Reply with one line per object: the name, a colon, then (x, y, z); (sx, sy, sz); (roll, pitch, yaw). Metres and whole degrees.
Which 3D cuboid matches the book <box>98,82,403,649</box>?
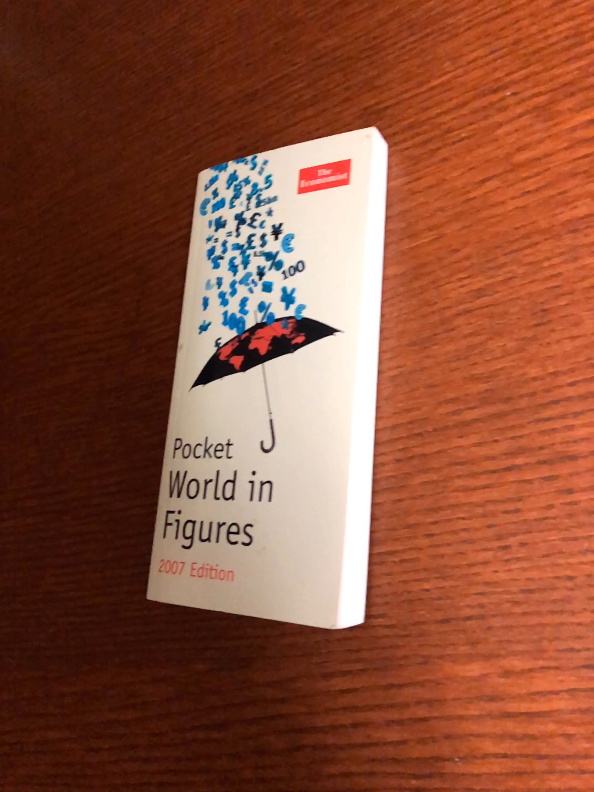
book: (-0.016, -0.015, 0.261); (0.100, 0.030, 0.200); (-2, 75, 31)
